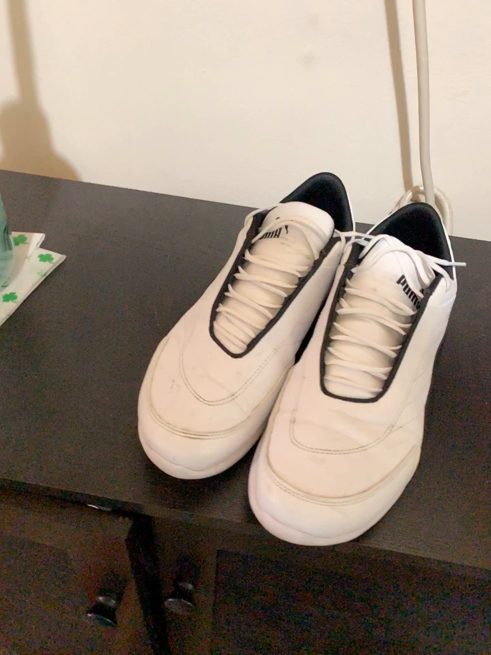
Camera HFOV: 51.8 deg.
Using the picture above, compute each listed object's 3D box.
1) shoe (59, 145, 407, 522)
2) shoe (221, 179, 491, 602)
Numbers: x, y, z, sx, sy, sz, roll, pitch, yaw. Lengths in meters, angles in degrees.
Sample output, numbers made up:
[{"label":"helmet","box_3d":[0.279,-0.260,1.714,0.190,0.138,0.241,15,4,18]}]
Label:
[{"label":"shoe","box_3d":[0.013,-0.022,0.385,0.120,0.089,0.282,23,50,17]},{"label":"shoe","box_3d":[0.099,0.015,0.360,0.100,0.089,0.292,23,50,17]}]
